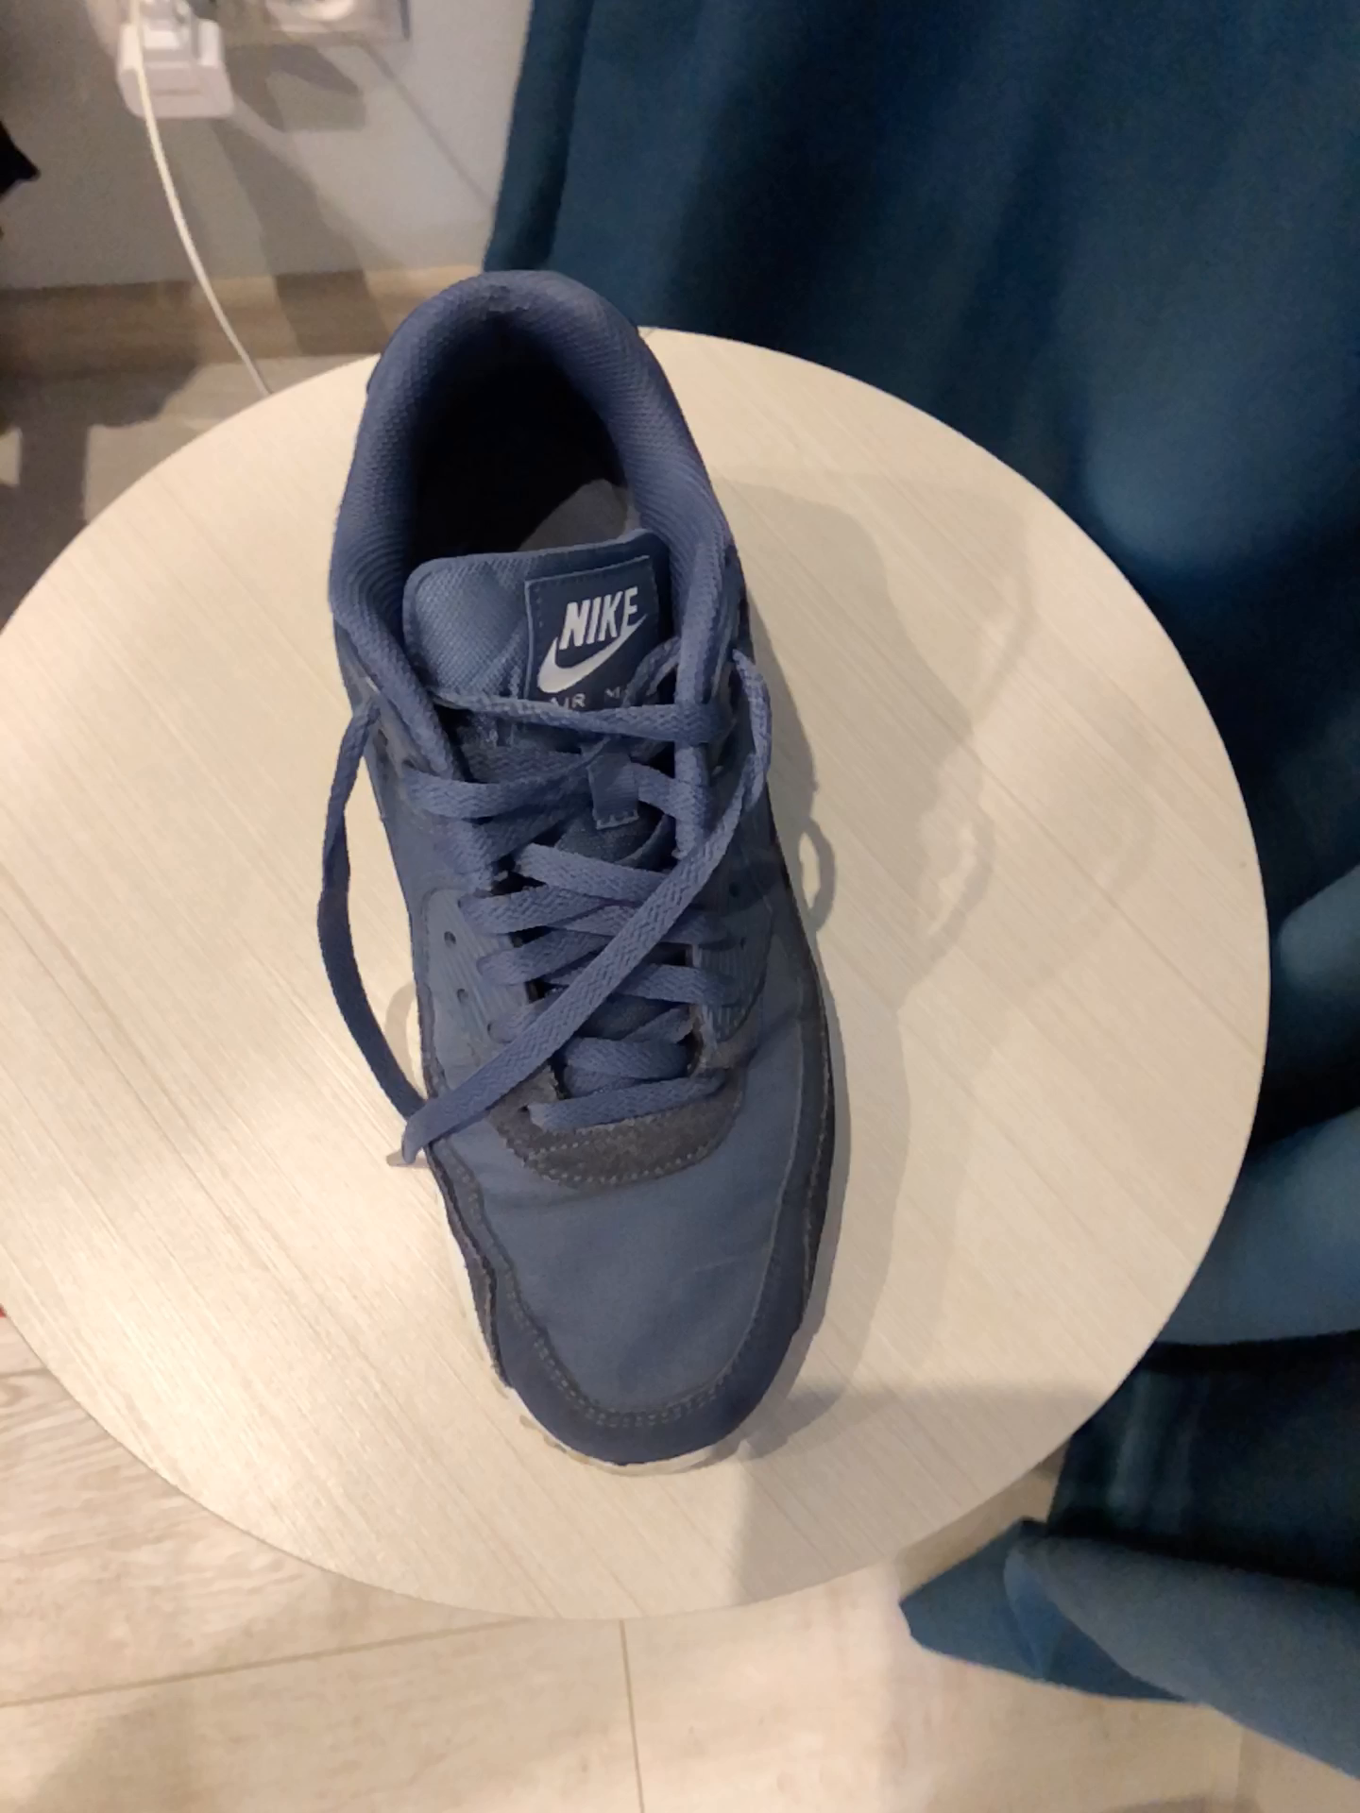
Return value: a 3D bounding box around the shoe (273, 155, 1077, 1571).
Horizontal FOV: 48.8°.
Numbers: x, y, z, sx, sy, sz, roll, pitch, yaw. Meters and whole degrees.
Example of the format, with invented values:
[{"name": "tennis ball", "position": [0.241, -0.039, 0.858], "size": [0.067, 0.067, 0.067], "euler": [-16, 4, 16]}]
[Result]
[{"name": "shoe", "position": [-0.015, -0.015, 0.341], "size": [0.110, 0.110, 0.281], "euler": [-8, 71, -8]}]
